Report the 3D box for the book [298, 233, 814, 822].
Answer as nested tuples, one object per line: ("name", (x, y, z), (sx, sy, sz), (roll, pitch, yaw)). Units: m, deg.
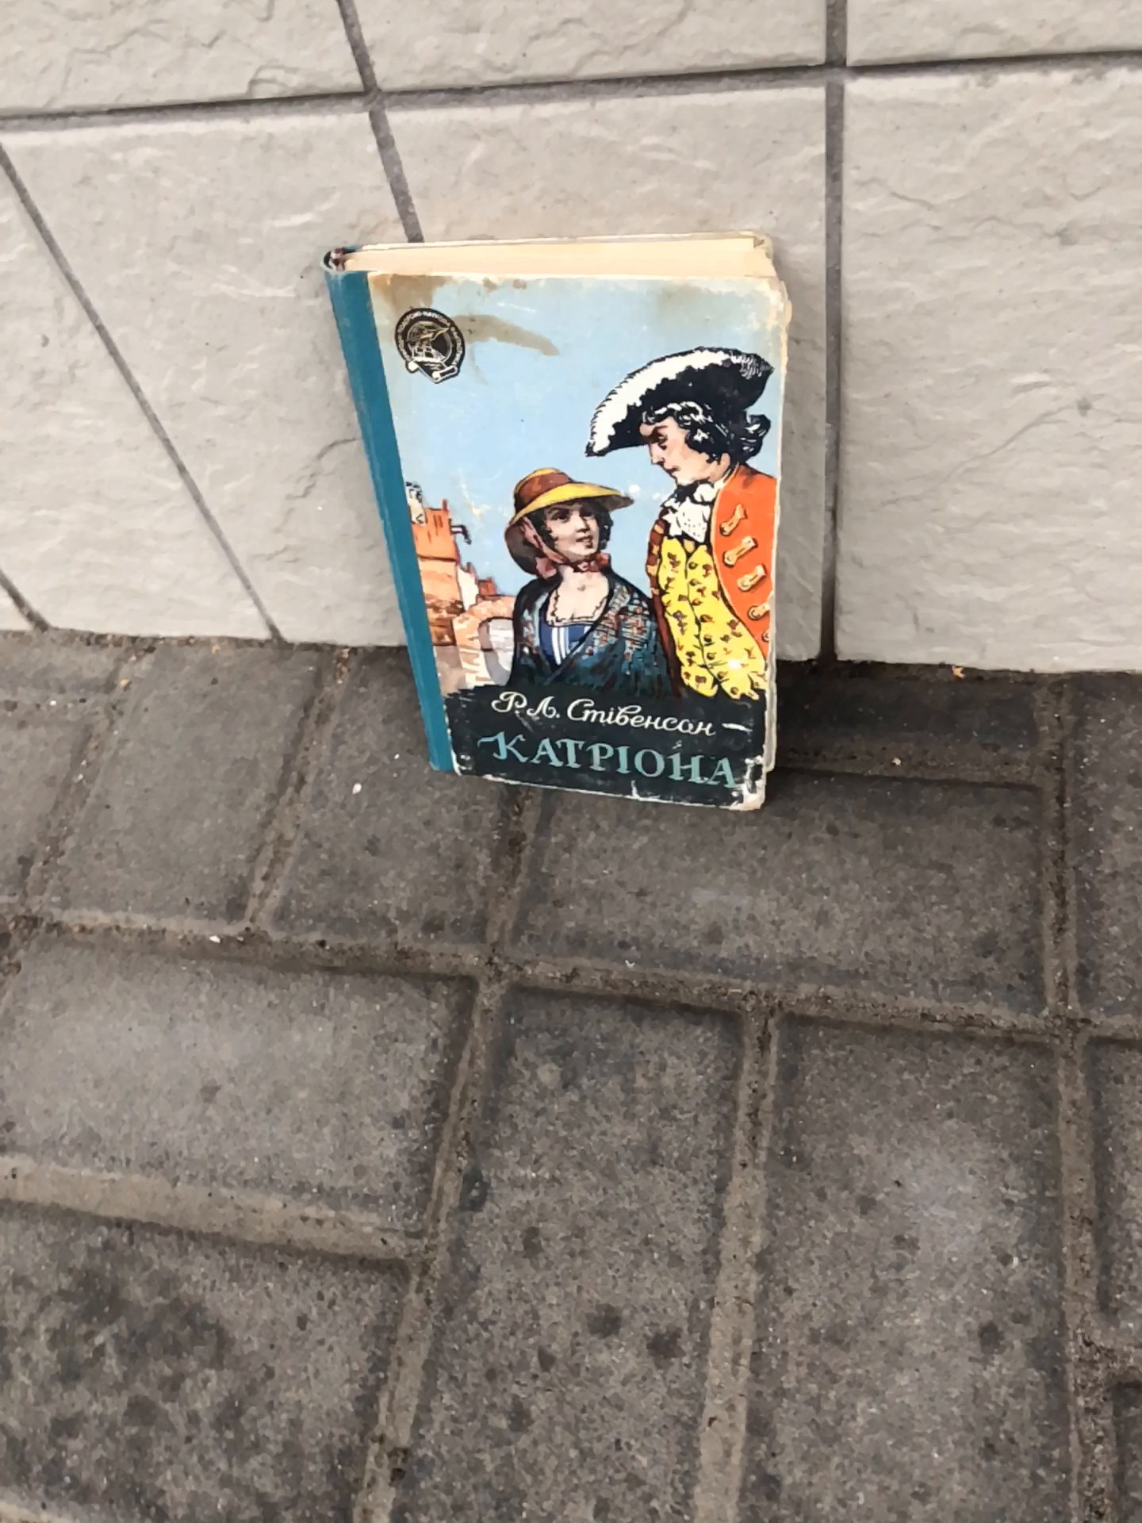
("book", (0.004, -0.065, 0.398), (0.134, 0.189, 0.030), (7, 45, 15))
